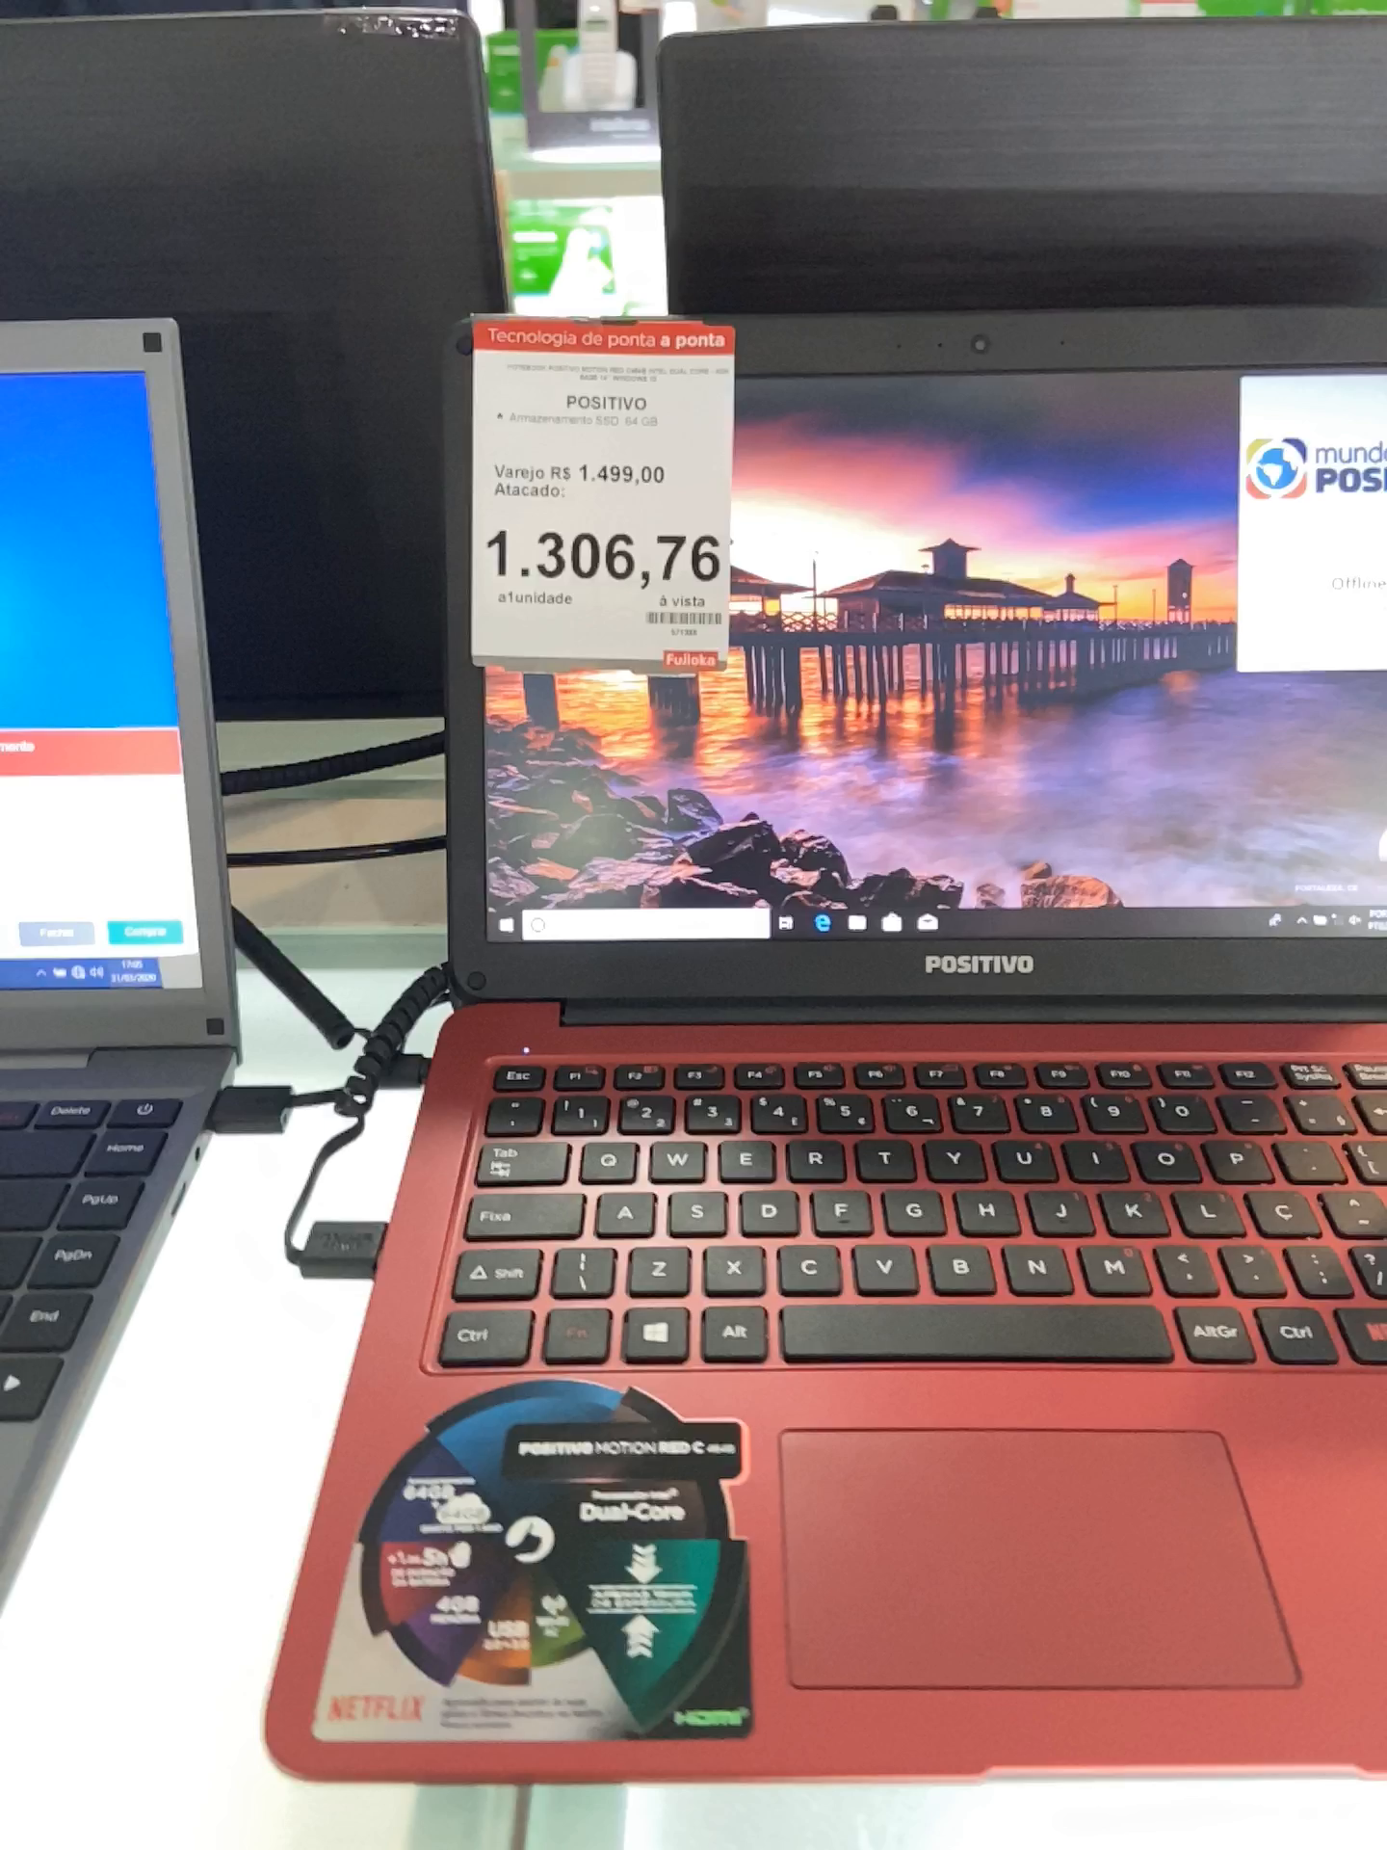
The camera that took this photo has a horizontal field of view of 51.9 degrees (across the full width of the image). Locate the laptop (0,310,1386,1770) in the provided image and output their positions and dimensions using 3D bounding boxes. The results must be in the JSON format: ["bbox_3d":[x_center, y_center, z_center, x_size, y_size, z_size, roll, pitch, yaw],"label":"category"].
[{"bbox_3d":[0.085,-0.018,0.339,0.320,0.167,0.335,-1,35,2],"label":"laptop"}]
